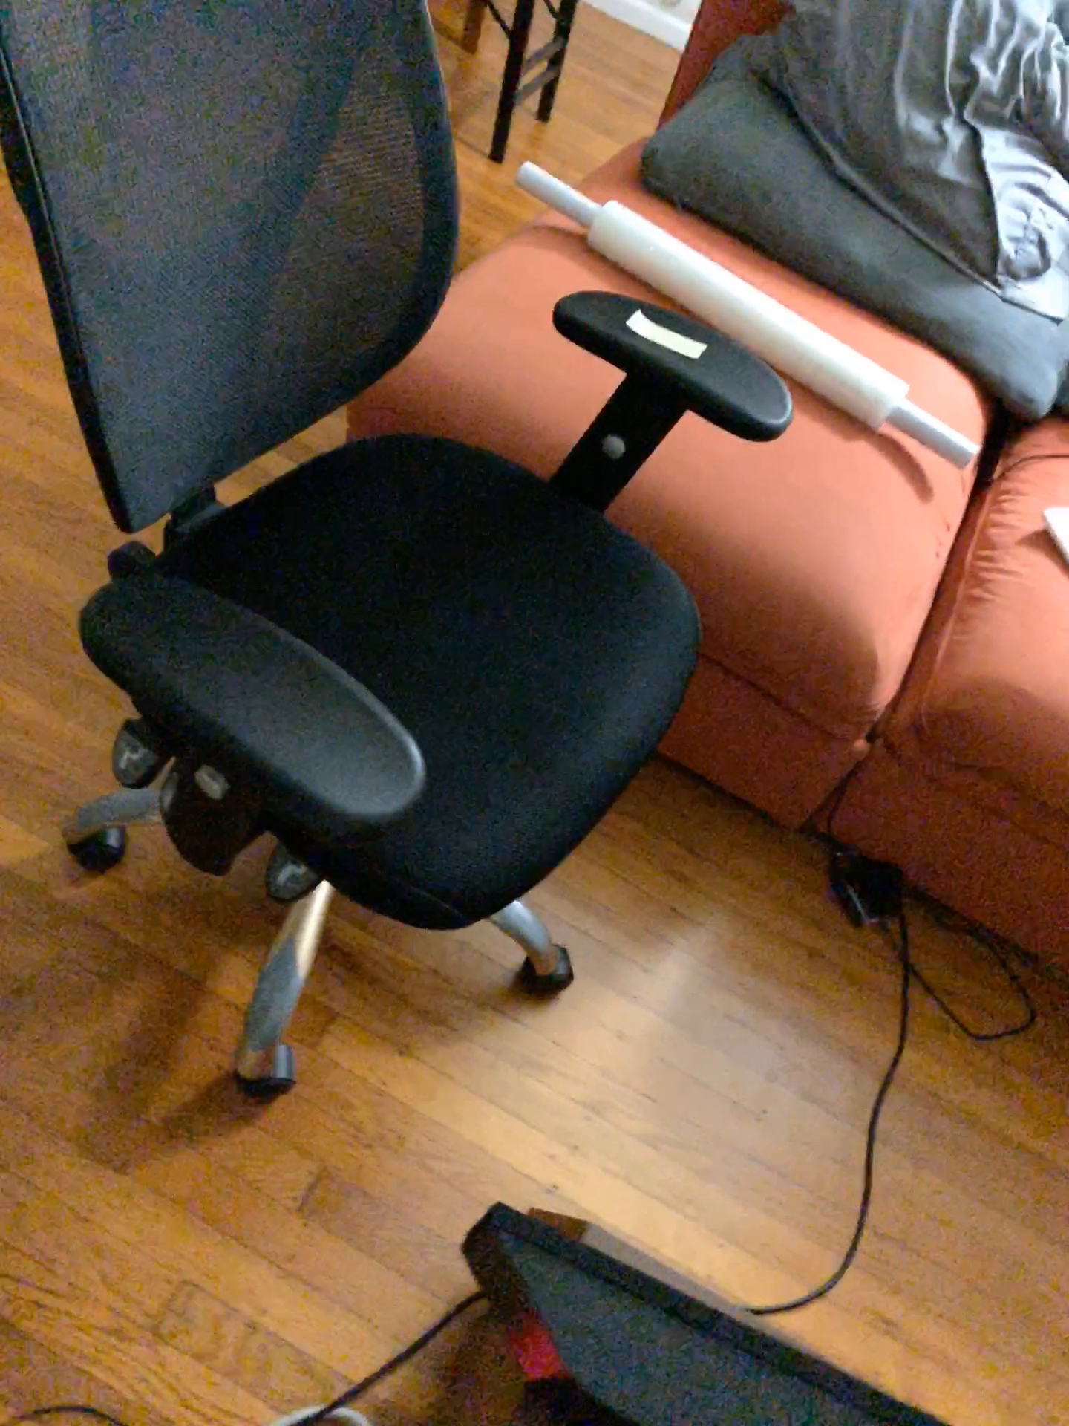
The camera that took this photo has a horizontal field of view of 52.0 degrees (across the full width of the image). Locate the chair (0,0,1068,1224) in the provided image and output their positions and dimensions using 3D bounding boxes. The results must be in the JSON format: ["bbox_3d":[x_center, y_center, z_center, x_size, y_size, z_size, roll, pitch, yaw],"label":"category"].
[{"bbox_3d":[-0.121,-0.162,1.012,0.660,0.975,0.643,34,49,14],"label":"chair"}]
